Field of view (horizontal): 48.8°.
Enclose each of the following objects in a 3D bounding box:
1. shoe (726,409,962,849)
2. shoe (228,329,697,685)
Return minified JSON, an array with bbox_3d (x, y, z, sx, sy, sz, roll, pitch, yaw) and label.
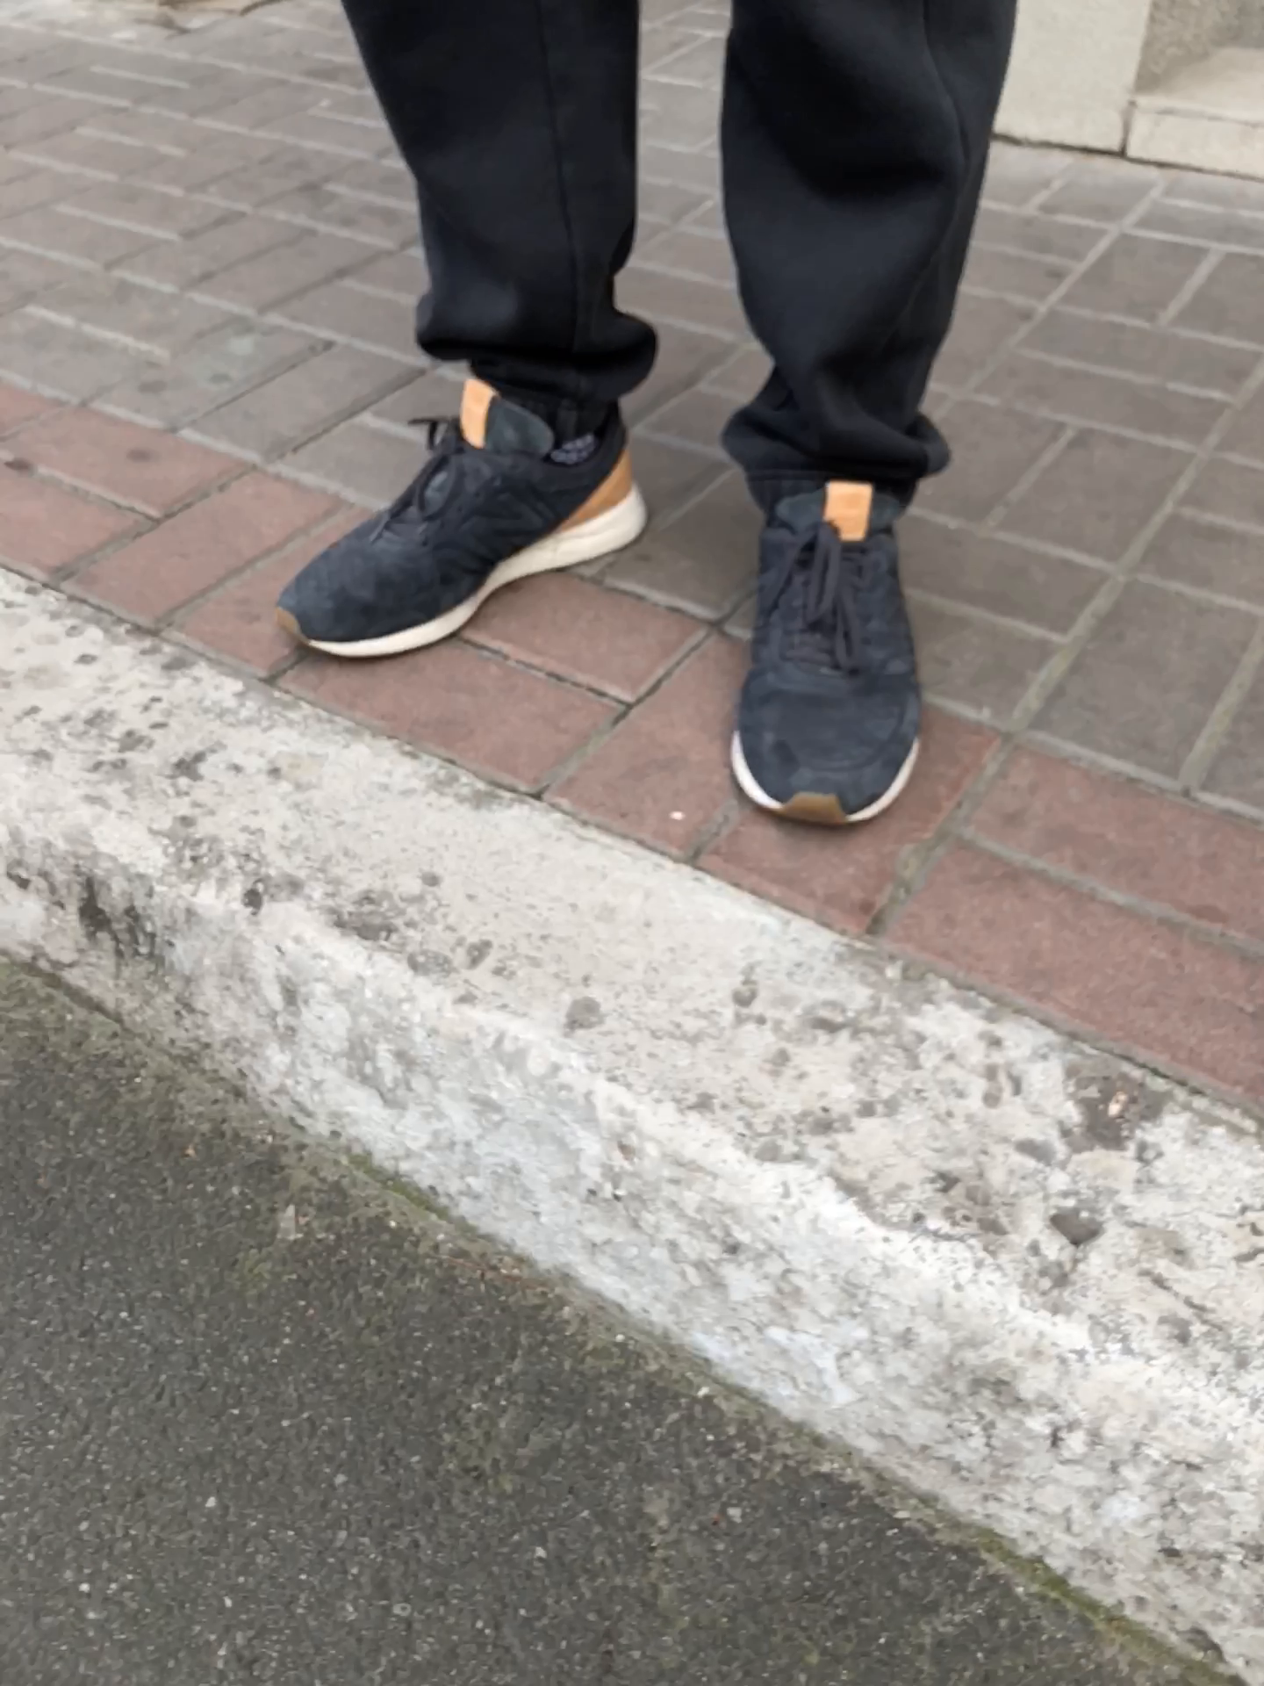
[{"bbox_3d":[0.116,-0.134,0.794,0.104,0.109,0.282,4,41,4],"label":"shoe"},{"bbox_3d":[-0.096,-0.222,0.887,0.281,0.109,0.105,-32,50,-32],"label":"shoe"}]
